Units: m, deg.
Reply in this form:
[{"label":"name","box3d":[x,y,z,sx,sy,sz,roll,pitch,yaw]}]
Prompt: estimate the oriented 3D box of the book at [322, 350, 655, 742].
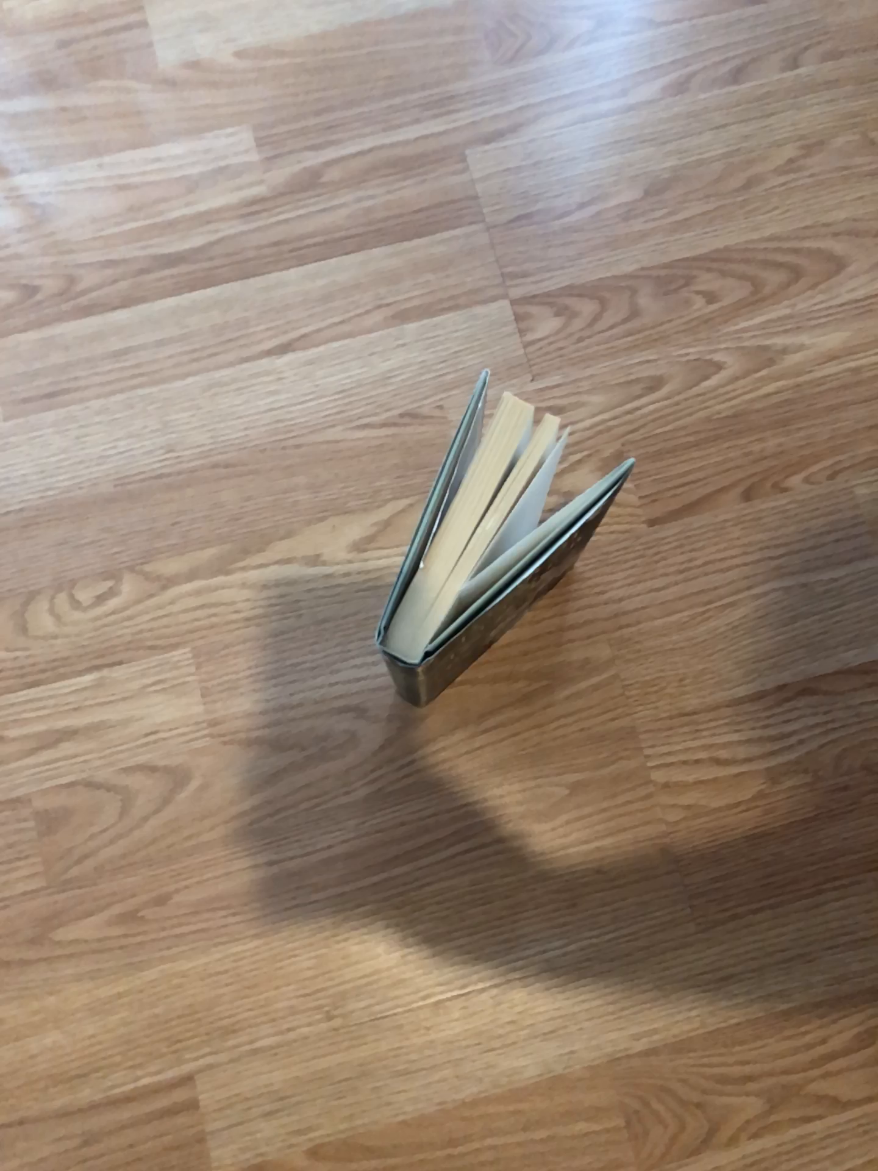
[{"label":"book","box3d":[0.021,-0.004,0.539,0.080,0.220,0.150,34,79,6]}]
